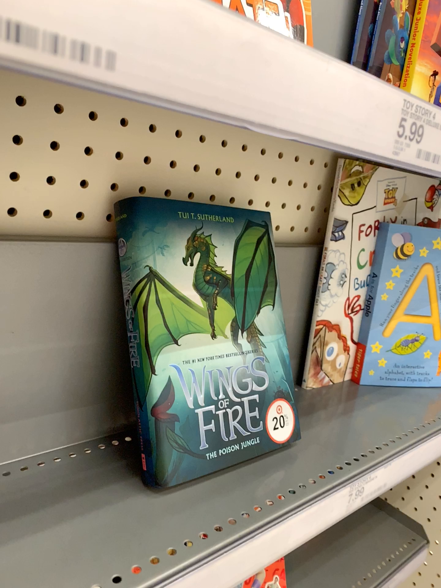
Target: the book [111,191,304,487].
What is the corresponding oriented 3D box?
[{"bbox_3d":[-0.006,0.029,0.392,0.150,0.215,0.036,-3,-7,-39],"label":"book"}]
